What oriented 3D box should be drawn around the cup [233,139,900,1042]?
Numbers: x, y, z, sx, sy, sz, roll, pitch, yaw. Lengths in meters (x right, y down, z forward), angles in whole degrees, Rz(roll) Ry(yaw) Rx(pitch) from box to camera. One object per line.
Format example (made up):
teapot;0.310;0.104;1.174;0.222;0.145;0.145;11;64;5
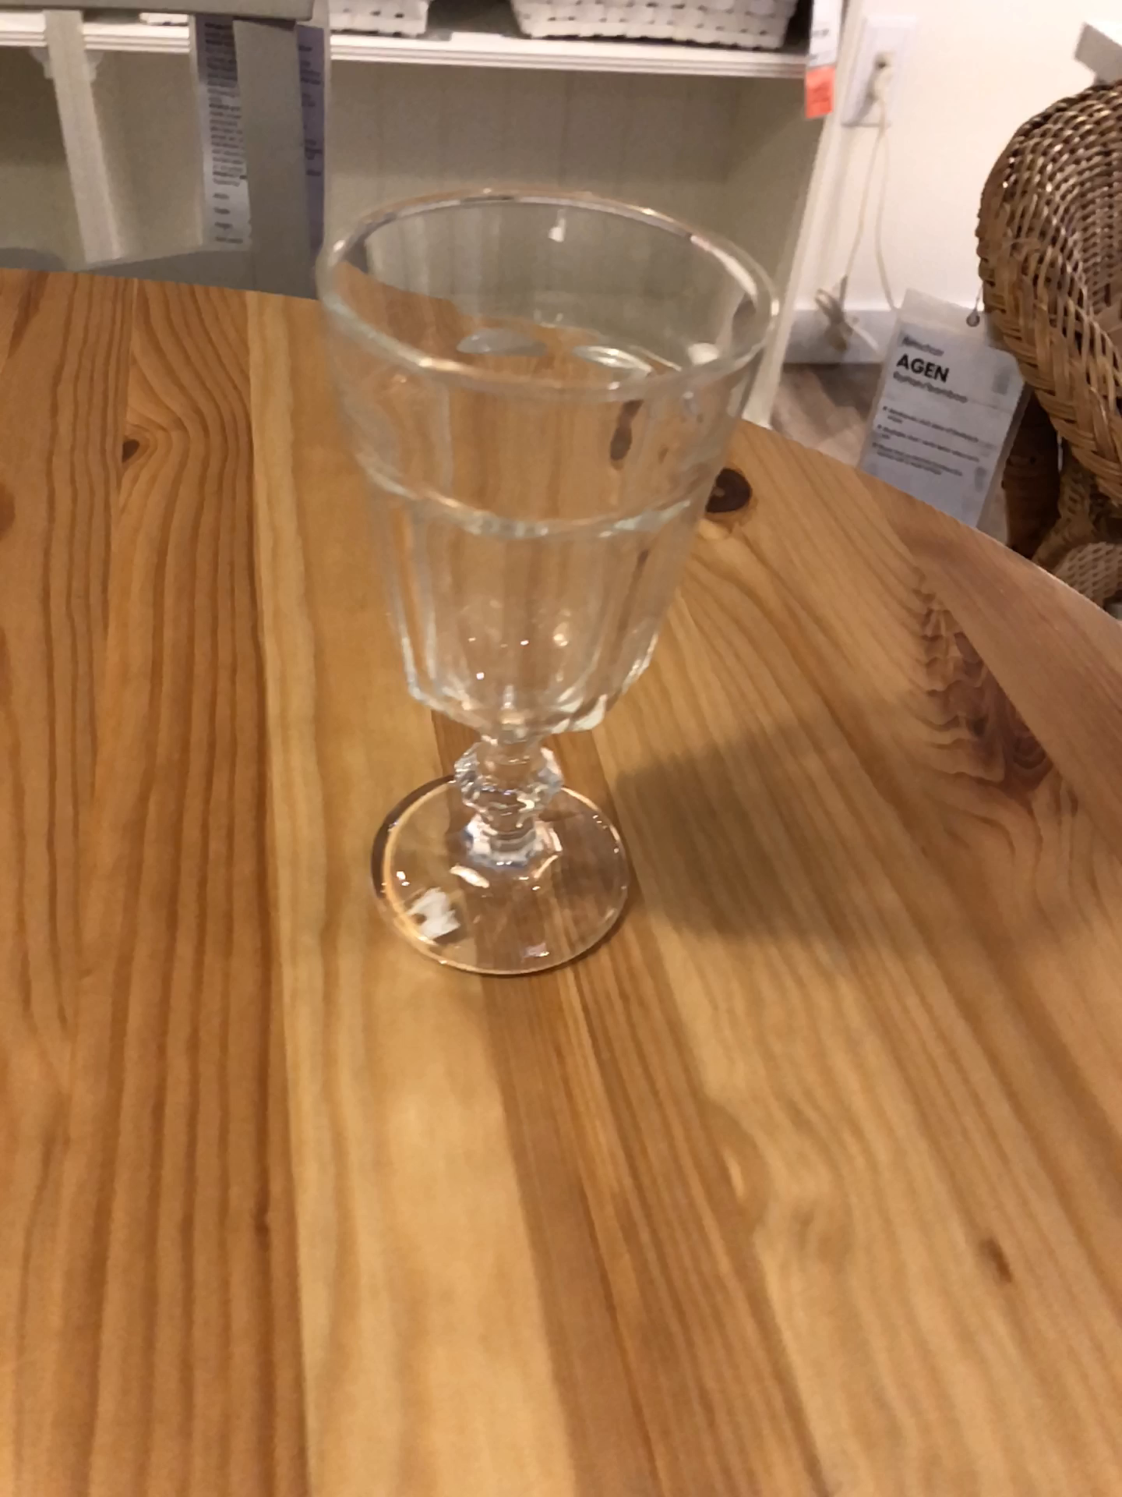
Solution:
cup;-0.001;-0.028;0.249;0.080;0.140;0.080;4;43;-3
